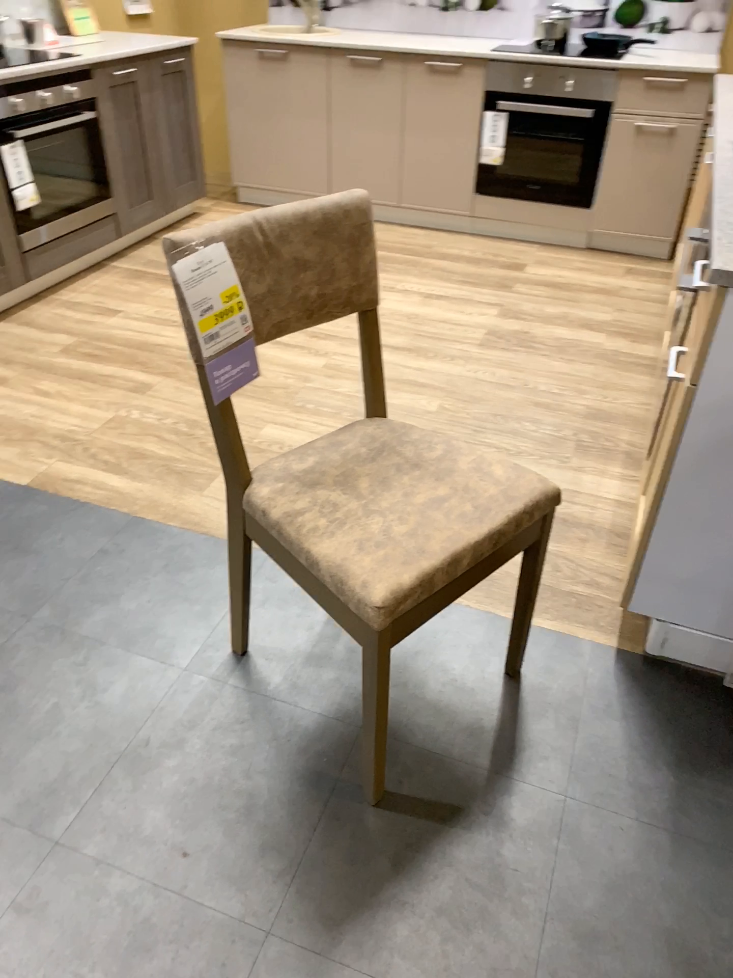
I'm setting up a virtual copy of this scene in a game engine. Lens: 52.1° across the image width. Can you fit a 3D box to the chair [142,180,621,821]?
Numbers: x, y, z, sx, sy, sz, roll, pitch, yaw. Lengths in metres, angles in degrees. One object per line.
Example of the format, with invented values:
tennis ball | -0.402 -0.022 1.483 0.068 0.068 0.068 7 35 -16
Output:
chair | 0.007 0.013 1.360 0.482 0.925 0.511 -28 45 -35
